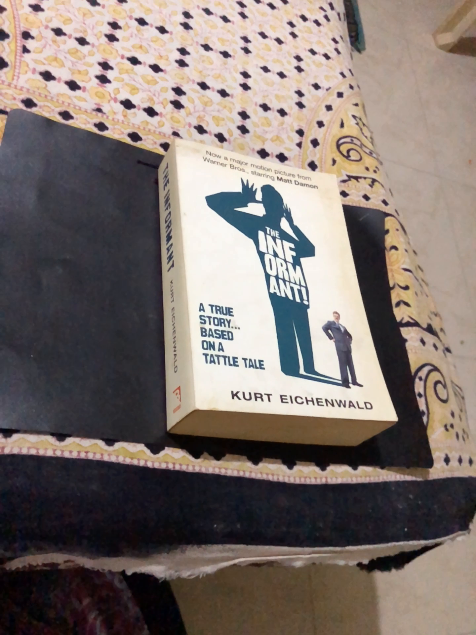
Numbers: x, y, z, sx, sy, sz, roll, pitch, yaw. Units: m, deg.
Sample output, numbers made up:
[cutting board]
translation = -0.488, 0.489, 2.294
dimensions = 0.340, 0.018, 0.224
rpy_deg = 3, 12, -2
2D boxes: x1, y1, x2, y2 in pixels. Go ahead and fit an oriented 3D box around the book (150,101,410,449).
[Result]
[book]
translation = 0.016, -0.033, 0.362
dimensions = 0.140, 0.050, 0.230
rpy_deg = 9, 56, -23
